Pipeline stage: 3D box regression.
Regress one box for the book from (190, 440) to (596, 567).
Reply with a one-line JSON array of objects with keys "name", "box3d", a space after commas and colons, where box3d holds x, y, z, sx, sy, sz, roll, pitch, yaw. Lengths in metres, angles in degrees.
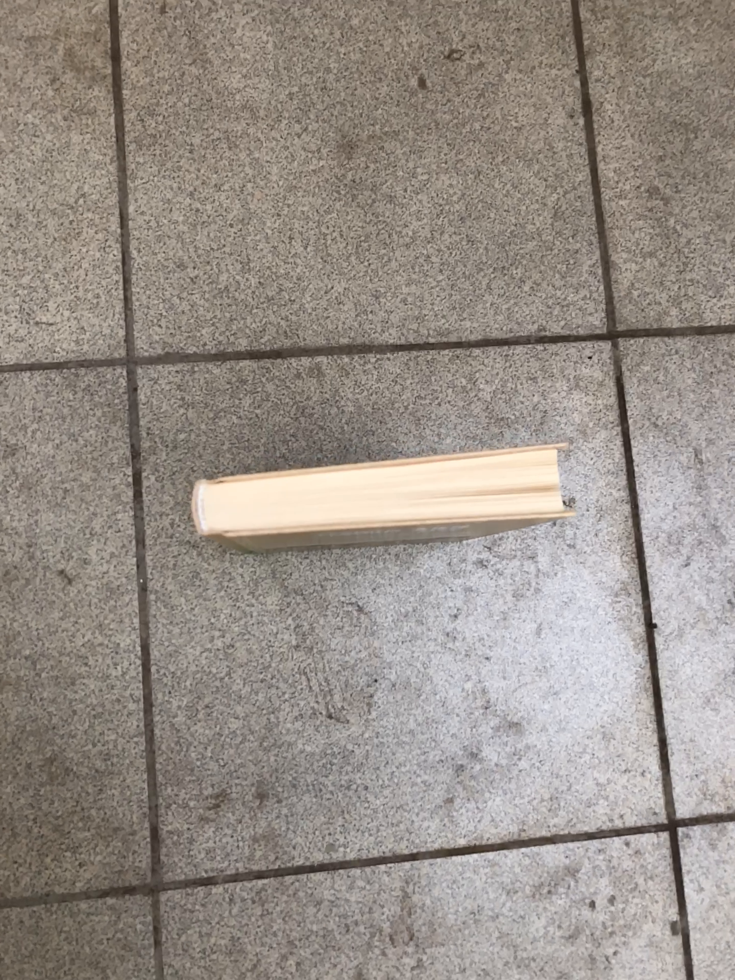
[{"name": "book", "box3d": [0.001, 0.014, 0.383, 0.140, 0.210, 0.030, -3, 83, -5]}]
